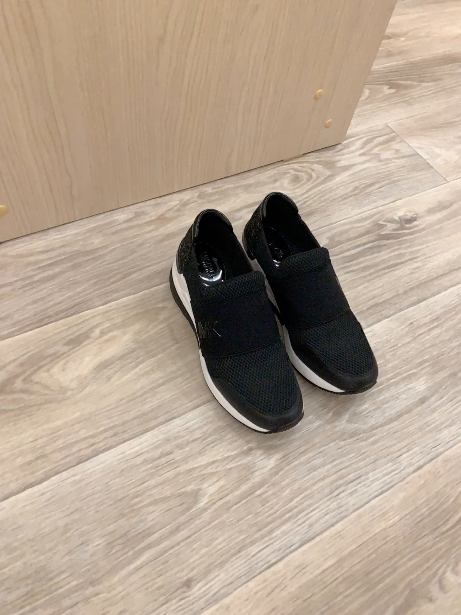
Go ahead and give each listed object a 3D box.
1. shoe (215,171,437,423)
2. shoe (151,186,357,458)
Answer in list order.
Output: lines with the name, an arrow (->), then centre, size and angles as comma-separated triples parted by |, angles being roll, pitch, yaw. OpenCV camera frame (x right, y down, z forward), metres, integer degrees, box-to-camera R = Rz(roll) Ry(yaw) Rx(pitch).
shoe -> 0.091, -0.020, 0.555 | 0.098, 0.119, 0.261 | -21, 62, -21
shoe -> 0.006, 0.008, 0.520 | 0.098, 0.119, 0.261 | -19, 61, -20
